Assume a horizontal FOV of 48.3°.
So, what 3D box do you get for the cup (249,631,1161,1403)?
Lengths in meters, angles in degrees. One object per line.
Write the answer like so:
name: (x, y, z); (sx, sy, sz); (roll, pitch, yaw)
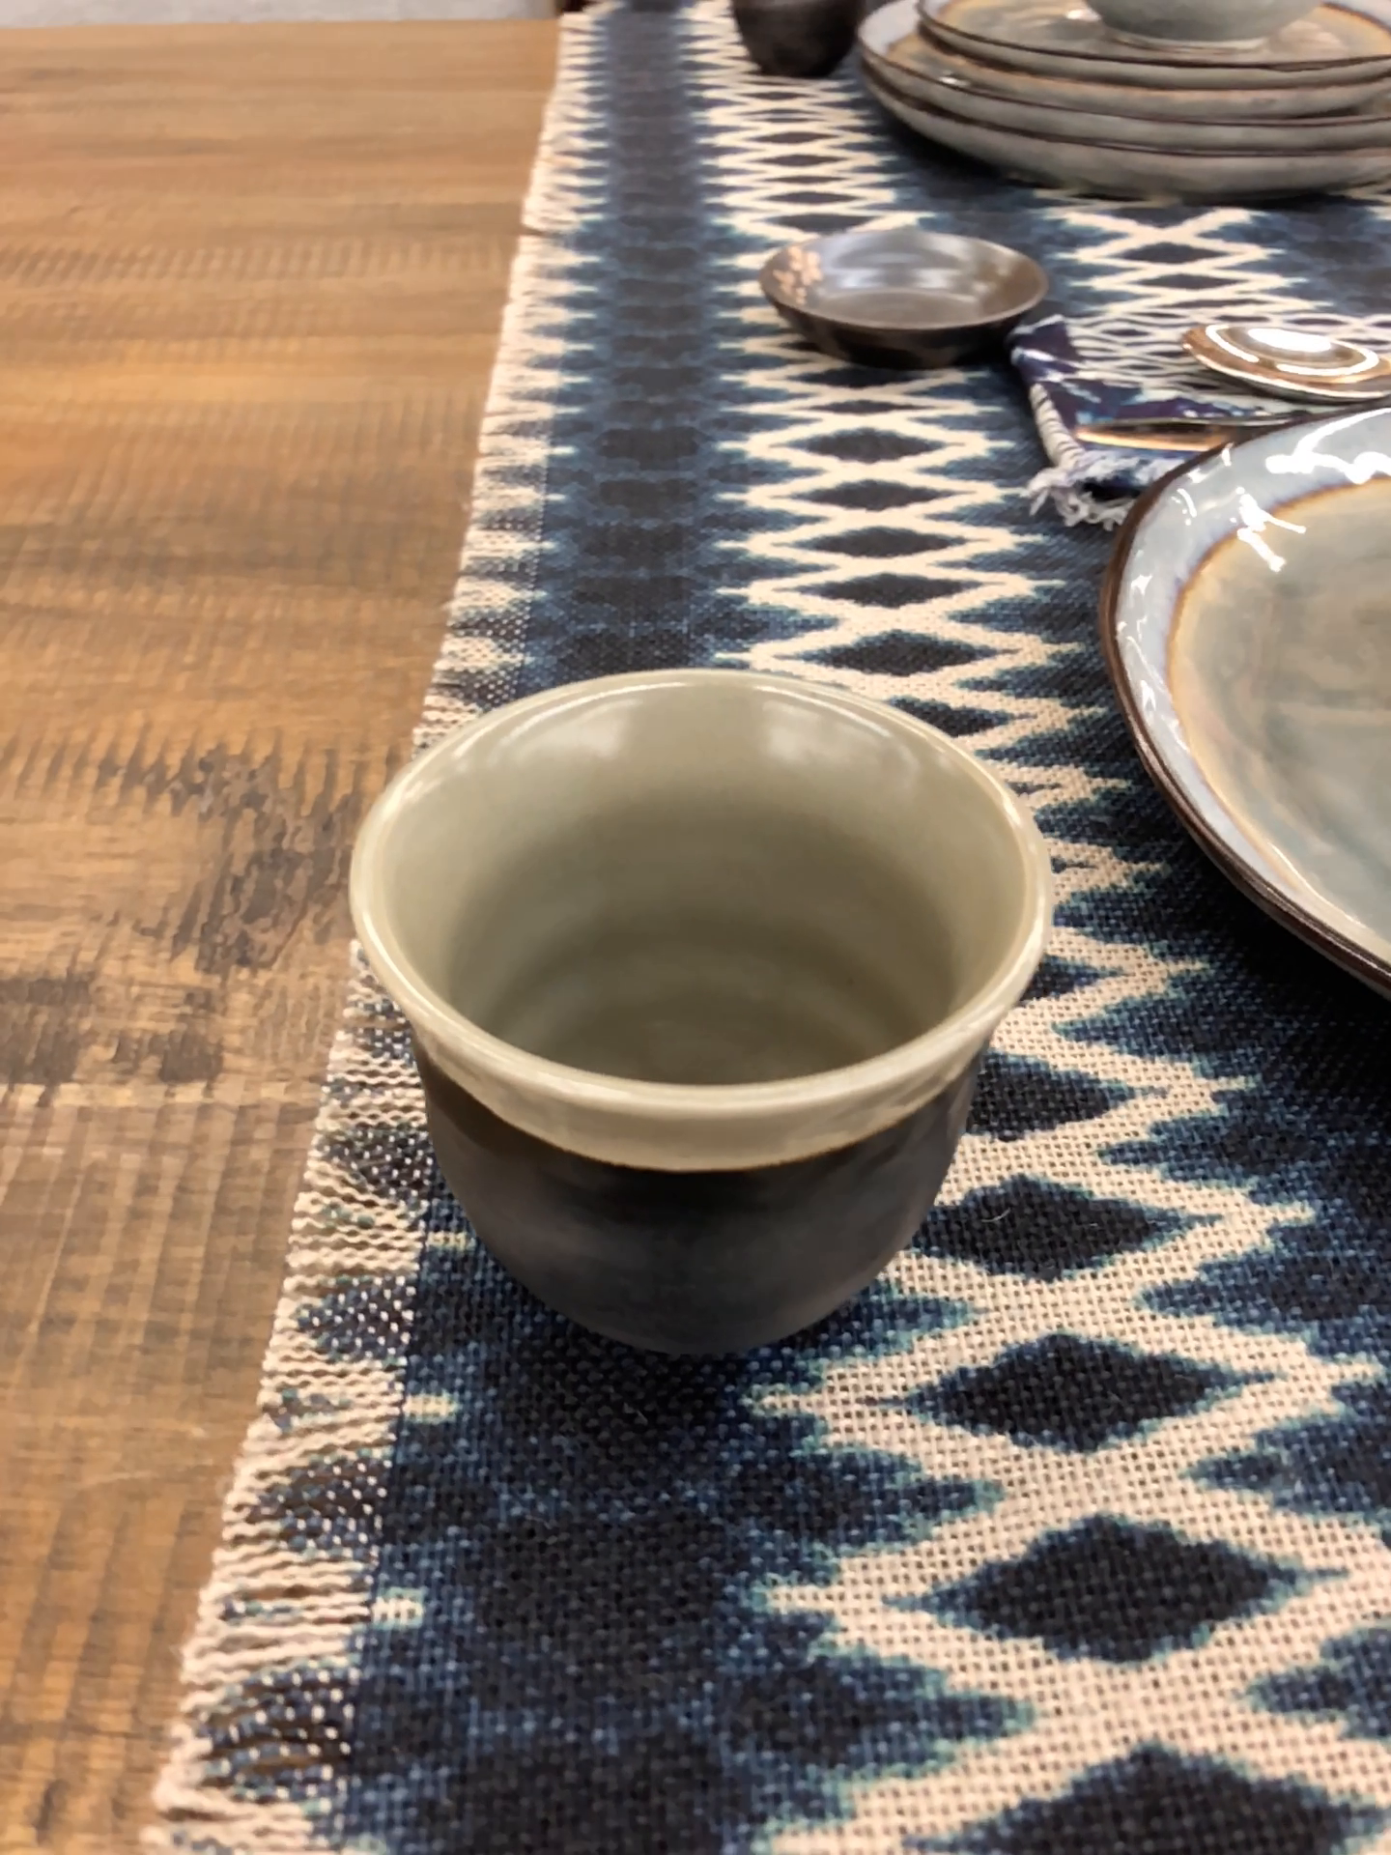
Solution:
cup: (0.003, 0.007, 0.188); (0.084, 0.048, 0.079); (0, 42, 0)
